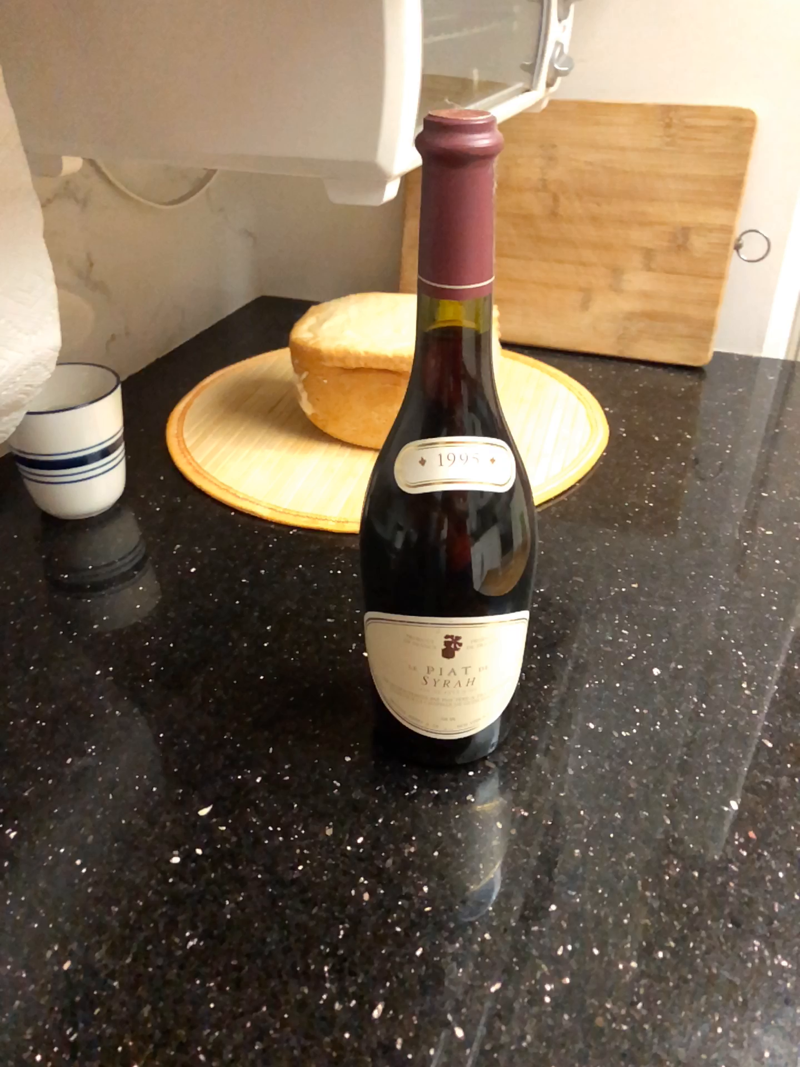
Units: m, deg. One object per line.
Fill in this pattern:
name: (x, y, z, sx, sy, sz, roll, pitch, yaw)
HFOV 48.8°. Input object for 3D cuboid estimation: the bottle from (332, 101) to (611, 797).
bottle: (0.022, -0.022, 0.405, 0.090, 0.308, 0.091, 0, 33, 0)
